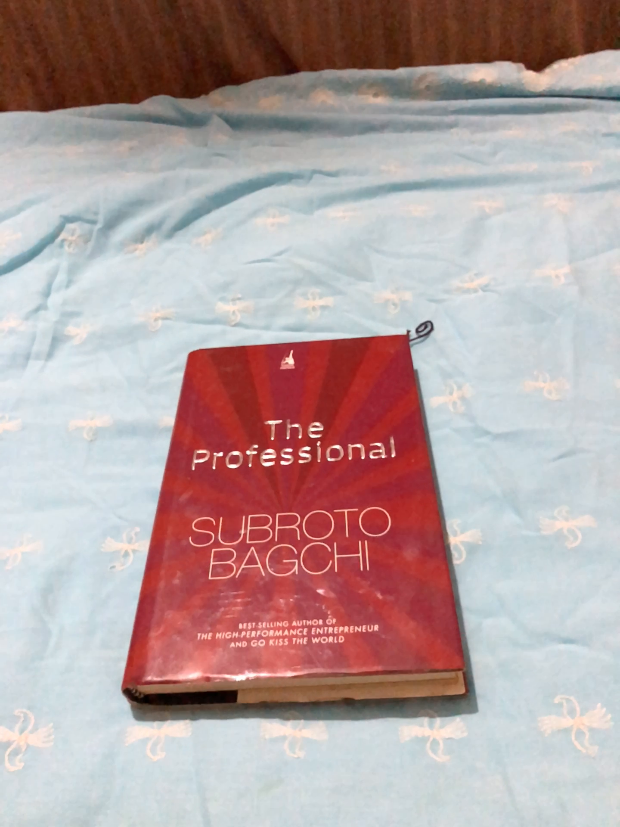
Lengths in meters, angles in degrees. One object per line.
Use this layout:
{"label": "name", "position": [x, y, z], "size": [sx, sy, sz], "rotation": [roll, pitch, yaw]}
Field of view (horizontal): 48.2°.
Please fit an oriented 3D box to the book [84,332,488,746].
{"label": "book", "position": [-0.007, 0.044, 0.344], "size": [0.150, 0.030, 0.221], "rotation": [-2, 45, 4]}
